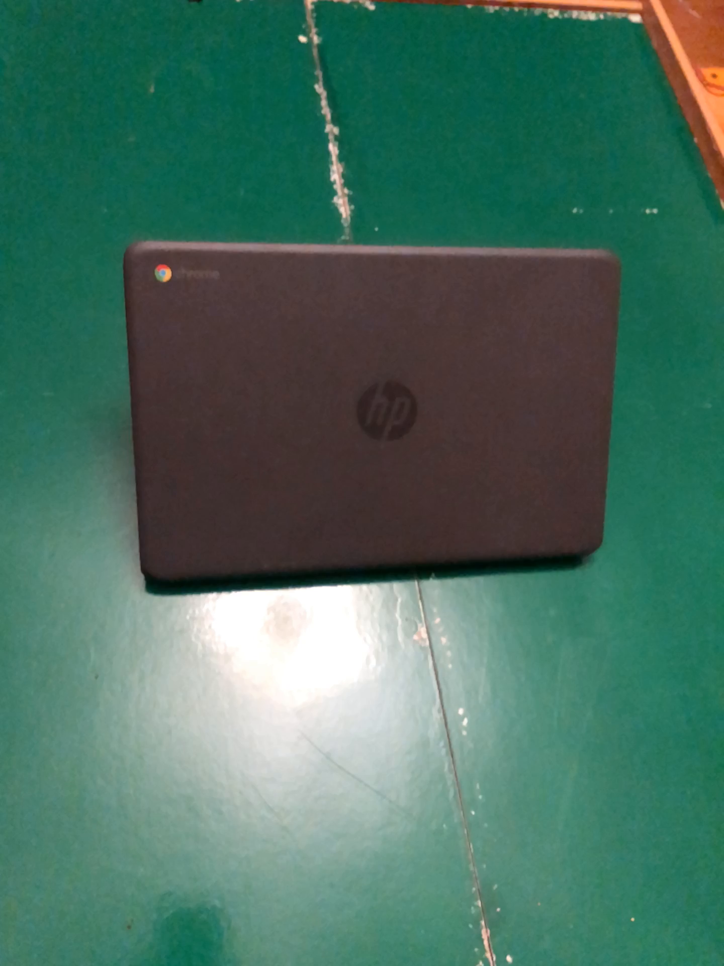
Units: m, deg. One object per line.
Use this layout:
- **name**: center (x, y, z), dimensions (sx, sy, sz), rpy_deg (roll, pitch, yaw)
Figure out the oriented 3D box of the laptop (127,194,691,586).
- **laptop**: center (0.013, -0.062, 0.545), dimensions (0.316, 0.144, 0.208), rpy_deg (-2, 63, -11)
